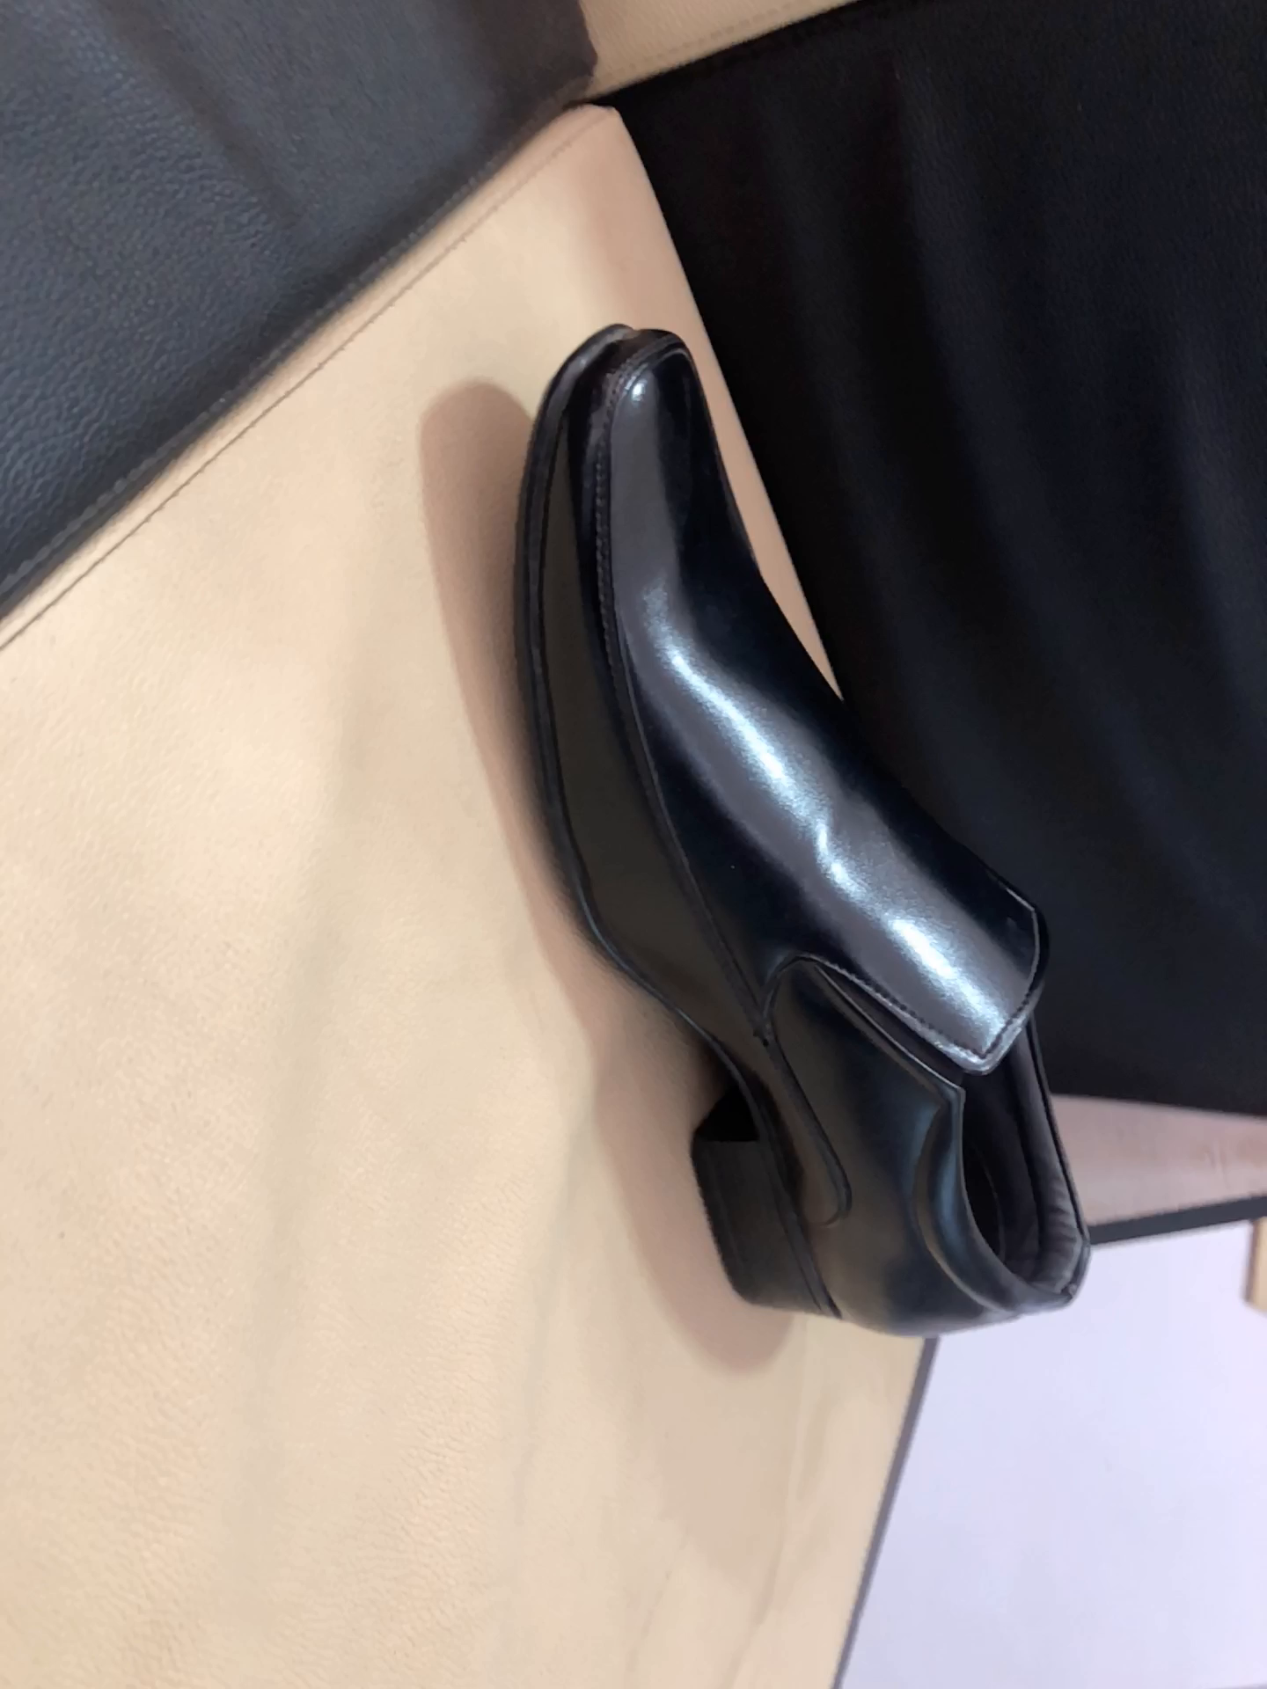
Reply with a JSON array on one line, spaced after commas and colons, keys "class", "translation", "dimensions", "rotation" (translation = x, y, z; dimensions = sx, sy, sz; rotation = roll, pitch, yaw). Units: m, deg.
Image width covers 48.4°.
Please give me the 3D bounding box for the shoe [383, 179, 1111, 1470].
[{"class": "shoe", "translation": [0.053, 0.013, 0.373], "dimensions": [0.100, 0.079, 0.321], "rotation": [-52, 132, -45]}]
